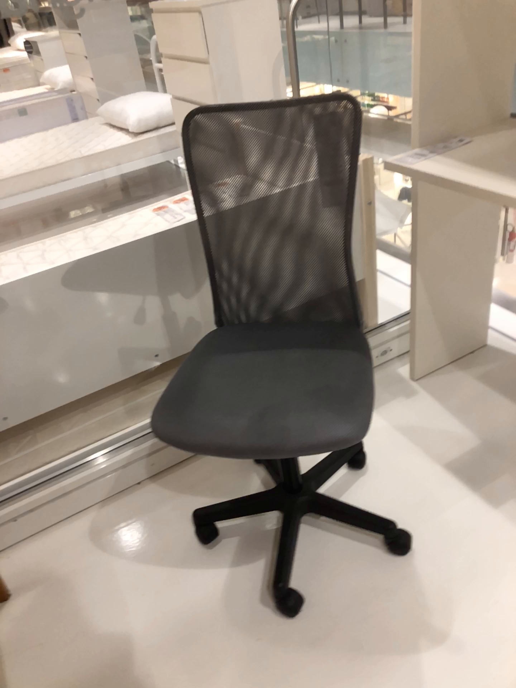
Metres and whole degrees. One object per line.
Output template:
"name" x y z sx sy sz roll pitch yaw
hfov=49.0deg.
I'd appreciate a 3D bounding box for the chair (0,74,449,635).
"chair" 0.050 0.030 1.191 0.580 0.932 0.605 -1 34 13
